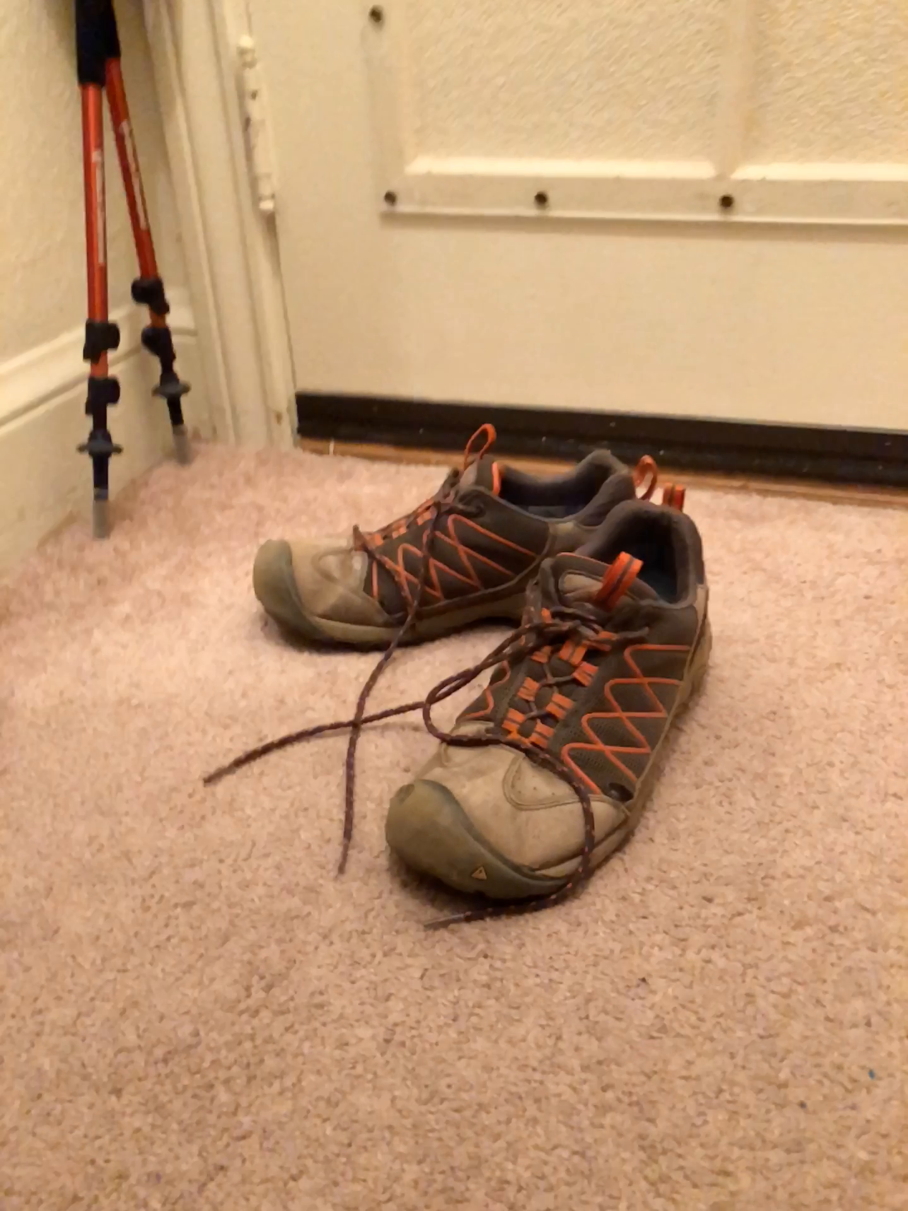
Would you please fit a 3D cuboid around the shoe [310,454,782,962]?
[{"bbox_3d":[0.064,0.034,0.557,0.120,0.129,0.271,20,38,32],"label":"shoe"}]

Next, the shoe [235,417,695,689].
[{"bbox_3d":[0.005,-0.043,0.730,0.300,0.129,0.121,-6,32,-5],"label":"shoe"}]
